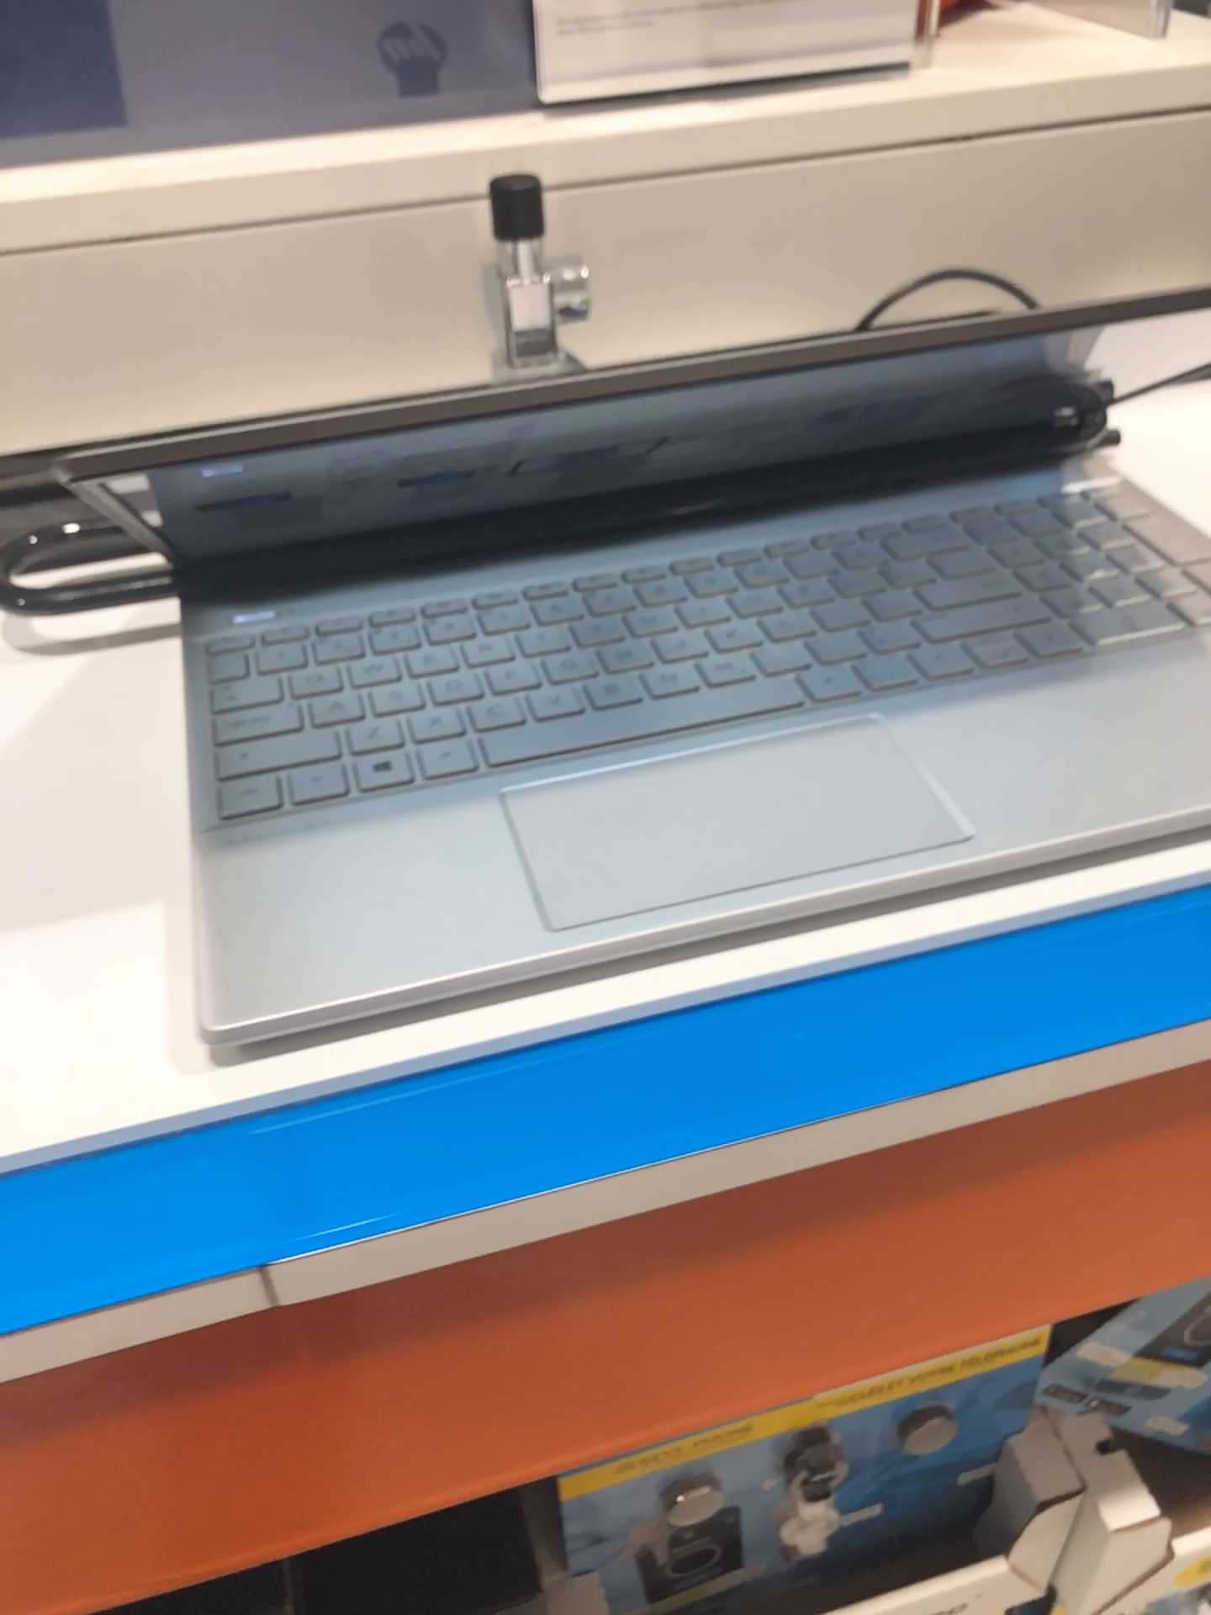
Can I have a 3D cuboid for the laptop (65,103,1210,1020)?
[{"bbox_3d":[0.044,-0.097,0.391,0.347,0.124,0.216,-12,39,-11],"label":"laptop"}]
